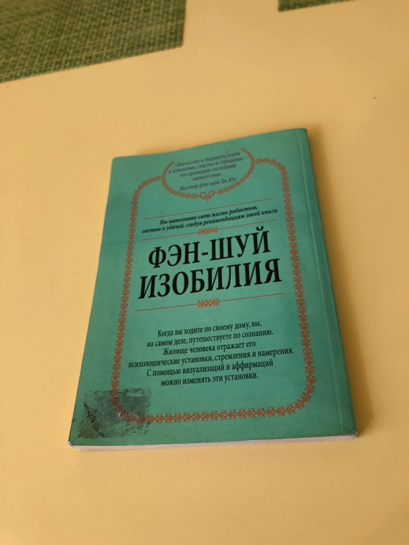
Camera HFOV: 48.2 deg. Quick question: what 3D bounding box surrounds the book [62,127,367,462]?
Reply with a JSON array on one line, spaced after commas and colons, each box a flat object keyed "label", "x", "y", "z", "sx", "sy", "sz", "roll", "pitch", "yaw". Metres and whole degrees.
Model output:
[{"label": "book", "x": 0.002, "y": 0.001, "z": 0.227, "sx": 0.118, "sy": 0.020, "sz": 0.167, "roll": -7, "pitch": 56, "yaw": 10}]
